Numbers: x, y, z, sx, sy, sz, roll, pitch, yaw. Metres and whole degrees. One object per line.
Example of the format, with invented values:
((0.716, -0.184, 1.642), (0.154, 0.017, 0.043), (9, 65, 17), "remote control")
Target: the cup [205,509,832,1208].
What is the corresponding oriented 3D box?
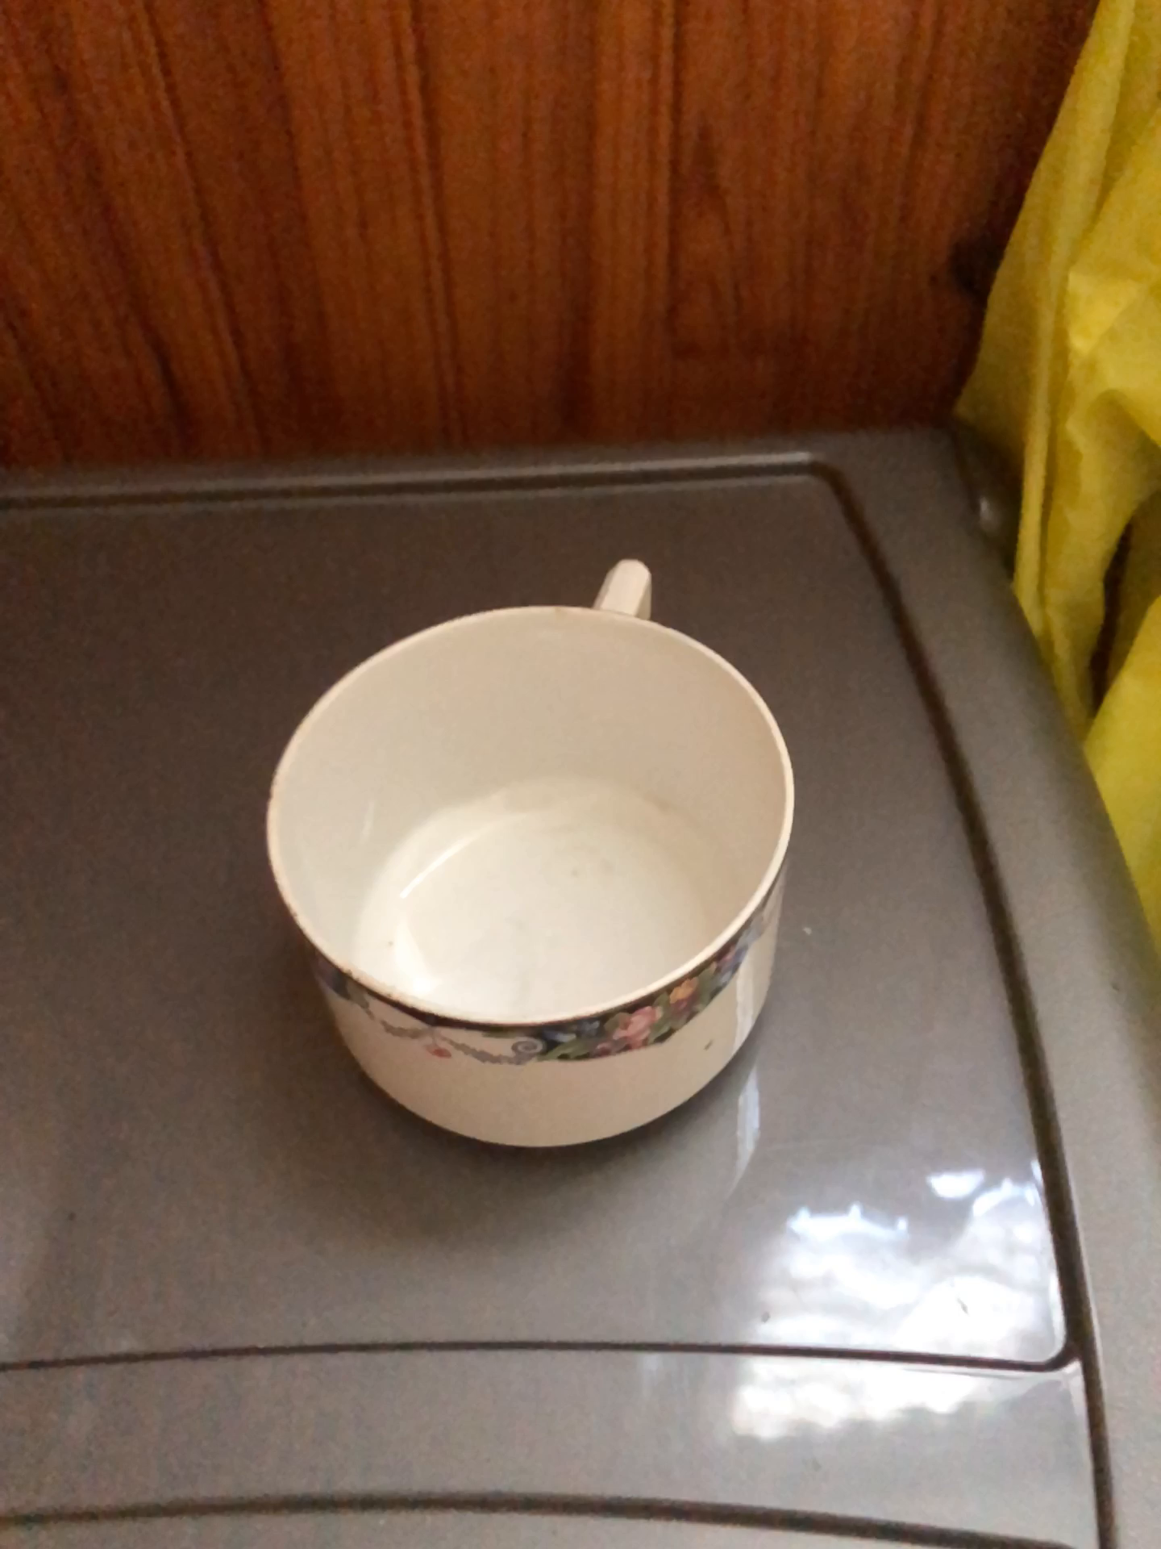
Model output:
((-0.003, 0.012, 0.286), (0.100, 0.060, 0.131), (8, 52, 9), "cup")
